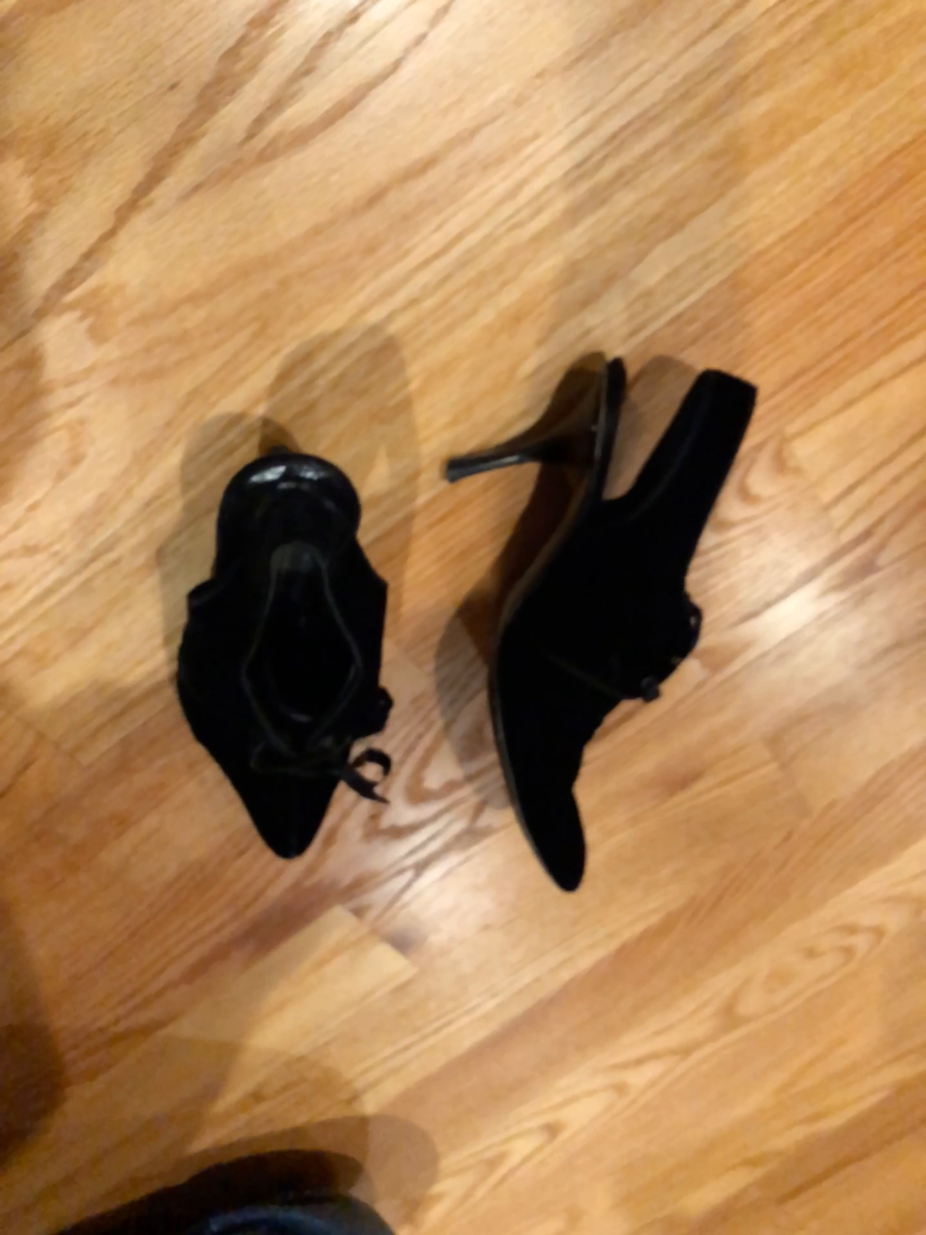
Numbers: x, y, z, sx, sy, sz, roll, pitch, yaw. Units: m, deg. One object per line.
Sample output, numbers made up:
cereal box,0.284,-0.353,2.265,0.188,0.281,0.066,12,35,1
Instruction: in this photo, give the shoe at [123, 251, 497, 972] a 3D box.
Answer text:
shoe,-0.061,-0.002,0.409,0.107,0.117,0.252,-5,120,-13

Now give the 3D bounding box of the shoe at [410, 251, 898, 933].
shoe,0.058,-0.005,0.429,0.118,0.107,0.252,0,119,-15
